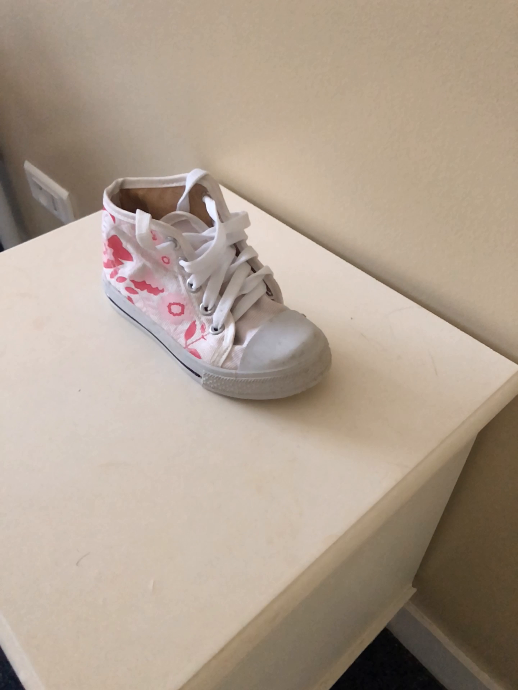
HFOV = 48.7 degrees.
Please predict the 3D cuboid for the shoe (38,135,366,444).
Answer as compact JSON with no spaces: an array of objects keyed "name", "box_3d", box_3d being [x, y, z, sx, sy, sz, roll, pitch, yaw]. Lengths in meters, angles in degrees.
[{"name":"shoe","box_3d":[-0.040,-0.044,0.363,0.190,0.099,0.080,33,53,29]}]
